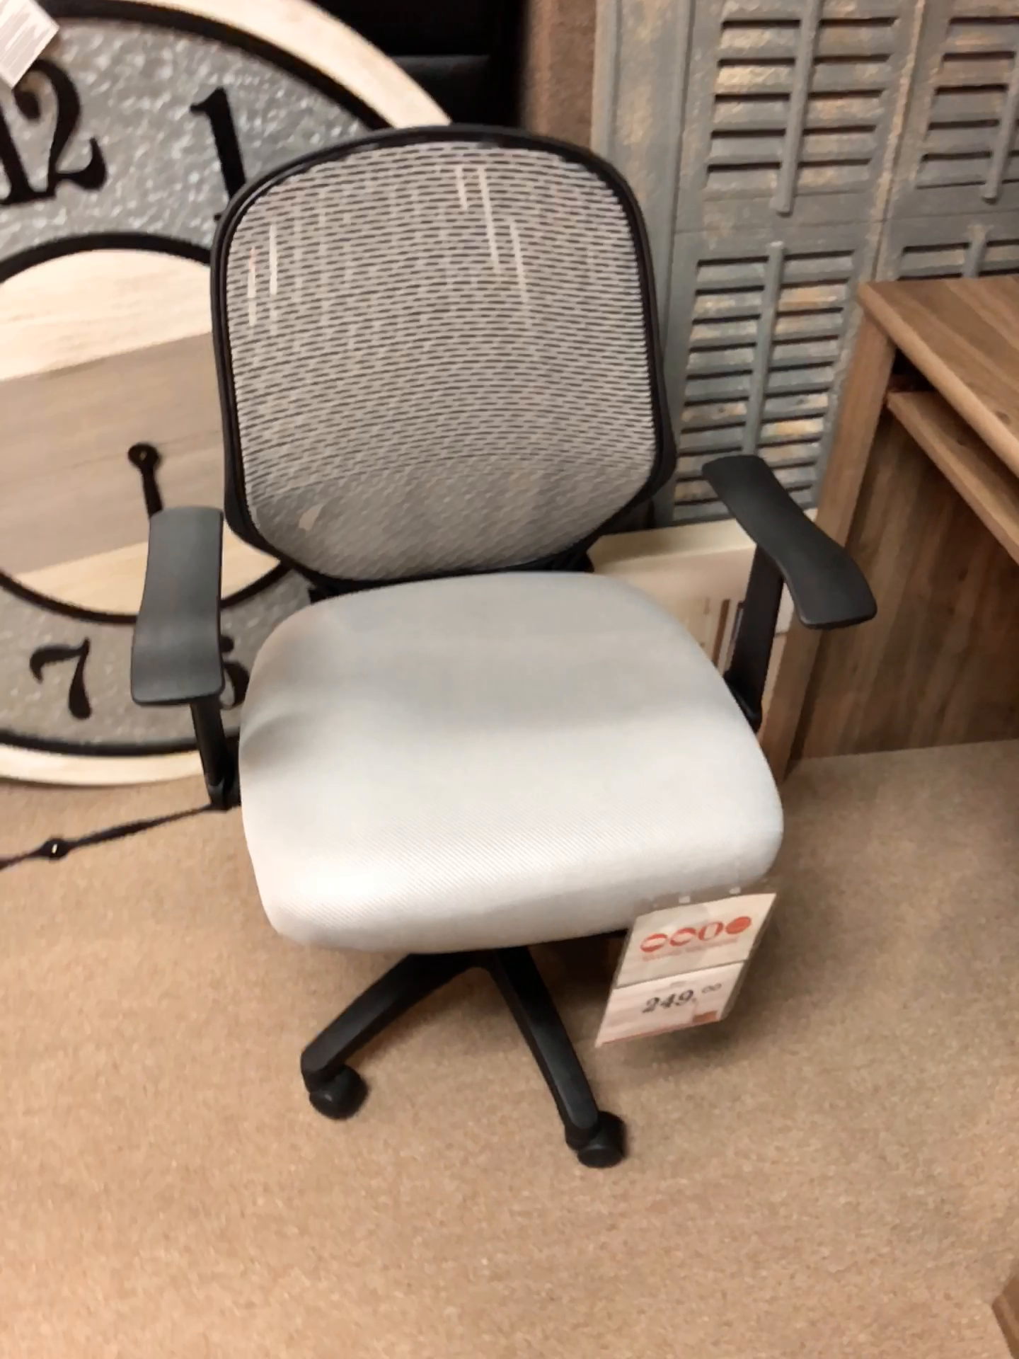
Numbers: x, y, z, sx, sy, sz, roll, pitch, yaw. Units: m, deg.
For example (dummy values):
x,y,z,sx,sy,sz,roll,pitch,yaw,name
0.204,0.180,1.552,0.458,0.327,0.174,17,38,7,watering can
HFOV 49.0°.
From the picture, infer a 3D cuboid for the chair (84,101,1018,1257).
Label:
x,y,z,sx,sy,sz,roll,pitch,yaw,name
-0.006,-0.016,1.135,0.610,0.864,0.674,-8,41,-12,chair
